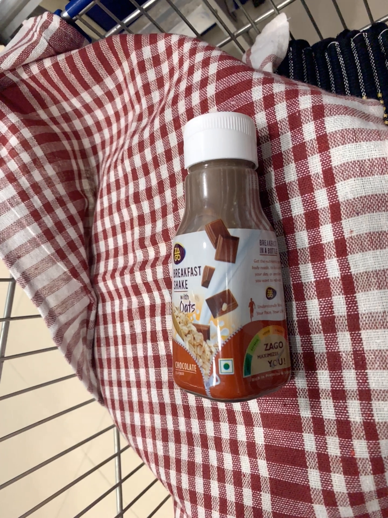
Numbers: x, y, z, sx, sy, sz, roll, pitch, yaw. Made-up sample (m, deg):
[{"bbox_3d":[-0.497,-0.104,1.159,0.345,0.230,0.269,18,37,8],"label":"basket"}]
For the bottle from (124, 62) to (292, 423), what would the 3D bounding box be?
[{"bbox_3d":[0.006,-0.007,0.206,0.060,0.050,0.150,-3,90,46],"label":"bottle"}]
